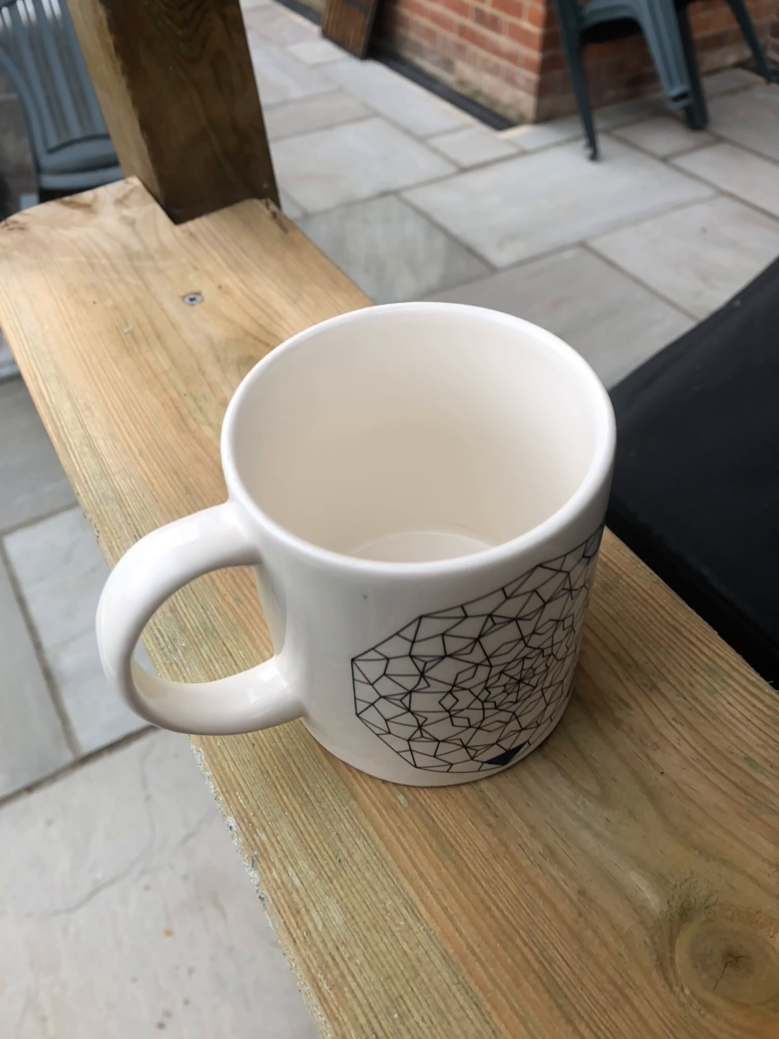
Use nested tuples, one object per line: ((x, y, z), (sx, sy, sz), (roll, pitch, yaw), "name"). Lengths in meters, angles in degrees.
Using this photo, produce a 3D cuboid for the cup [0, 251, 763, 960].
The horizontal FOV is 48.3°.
((-0.002, 0.013, 0.211), (0.130, 0.089, 0.090), (-25, 50, -21), "cup")
